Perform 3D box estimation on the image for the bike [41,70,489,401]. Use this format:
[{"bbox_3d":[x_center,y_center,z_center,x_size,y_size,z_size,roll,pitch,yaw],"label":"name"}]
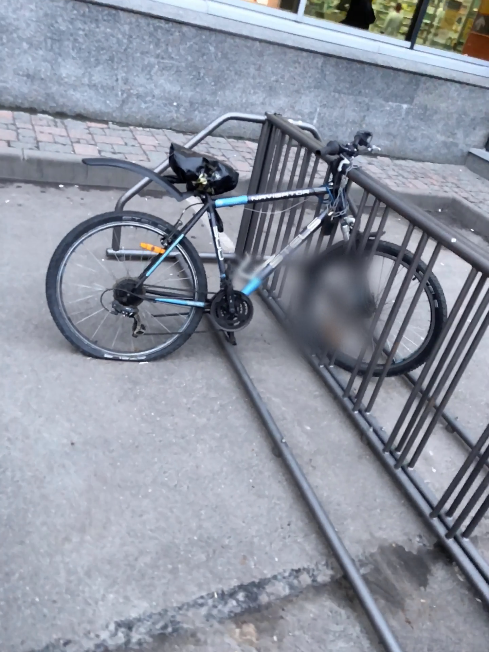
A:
[{"bbox_3d":[0.031,-0.349,2.216,1.584,1.050,0.537,8,32,-5],"label":"bike"}]
